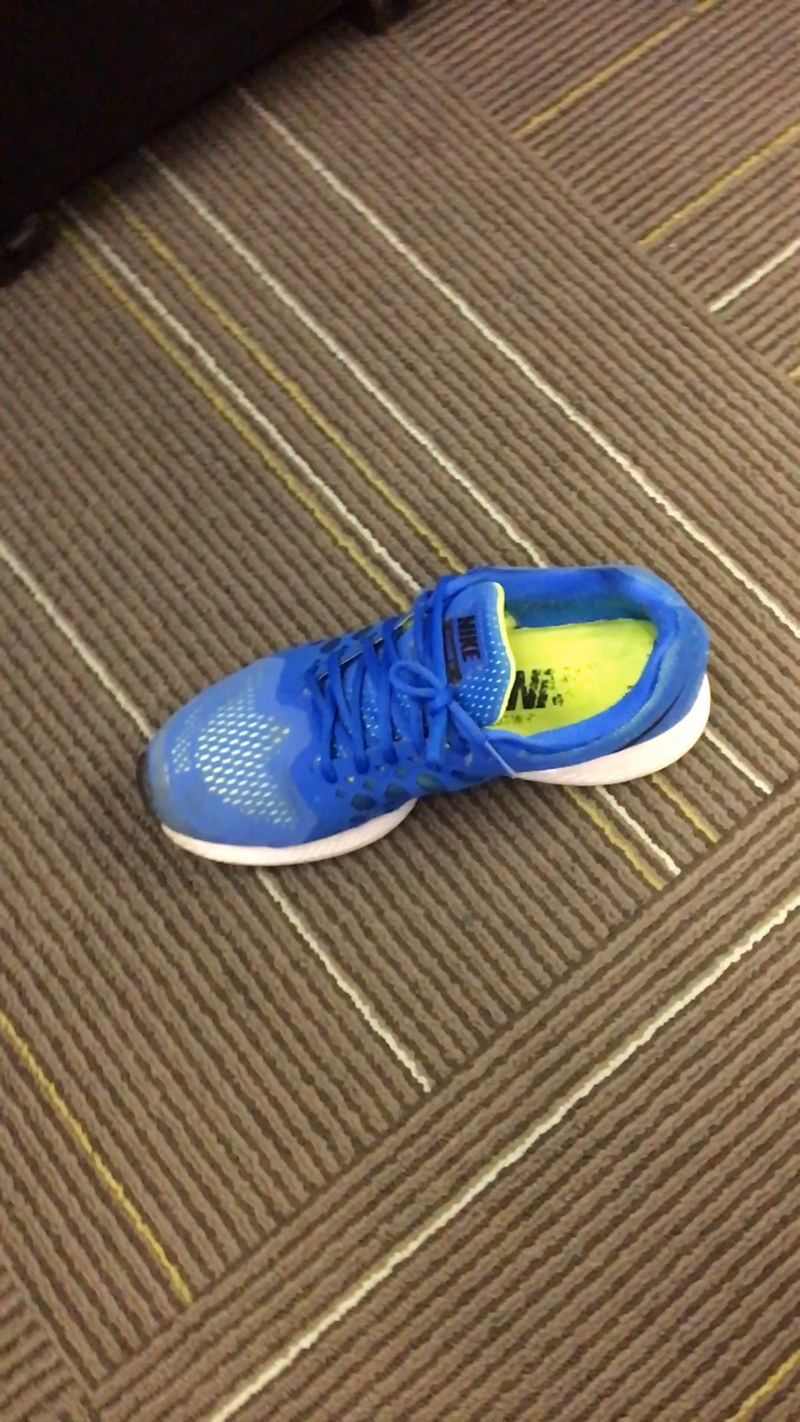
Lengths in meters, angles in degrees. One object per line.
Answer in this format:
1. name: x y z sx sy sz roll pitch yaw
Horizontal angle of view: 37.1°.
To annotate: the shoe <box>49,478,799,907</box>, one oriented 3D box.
1. shoe: 0.010 0.000 0.581 0.310 0.150 0.110 -10 70 -1
